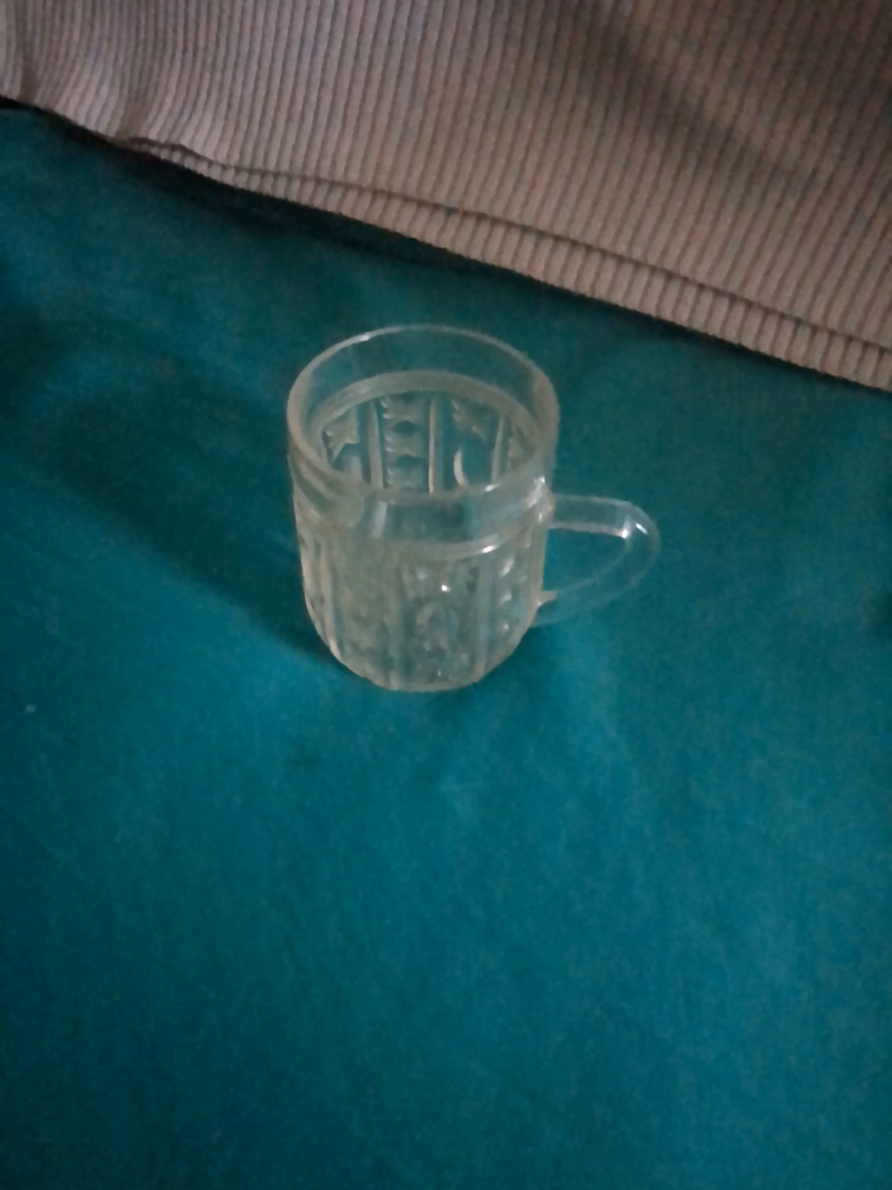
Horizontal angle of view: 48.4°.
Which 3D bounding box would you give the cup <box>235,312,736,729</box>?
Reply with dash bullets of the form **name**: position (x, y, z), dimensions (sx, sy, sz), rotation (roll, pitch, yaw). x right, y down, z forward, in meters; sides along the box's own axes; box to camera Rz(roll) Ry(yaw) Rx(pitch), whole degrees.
- **cup**: position (0.010, -0.017, 0.255), dimensions (0.104, 0.076, 0.064), rotation (5, 54, 2)
